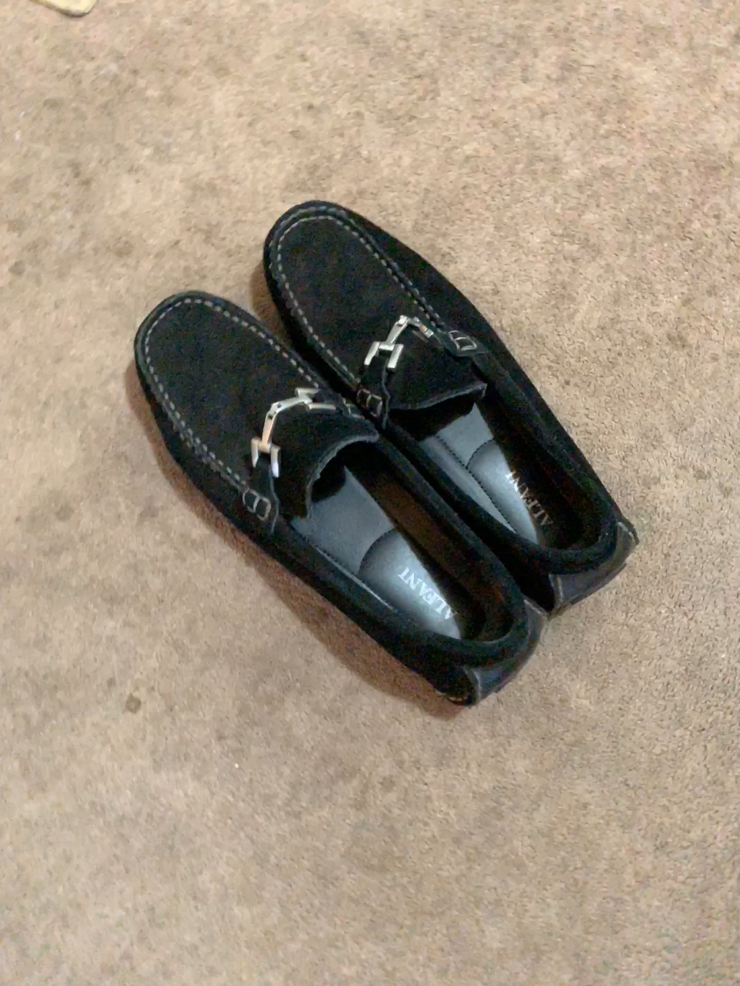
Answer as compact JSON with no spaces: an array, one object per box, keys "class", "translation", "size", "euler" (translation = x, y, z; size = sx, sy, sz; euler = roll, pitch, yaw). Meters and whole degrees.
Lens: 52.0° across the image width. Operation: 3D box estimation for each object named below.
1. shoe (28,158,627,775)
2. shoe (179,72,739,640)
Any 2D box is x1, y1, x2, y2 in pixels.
[{"class":"shoe","translation":[-0.027,-0.014,0.403],"size":[0.100,0.100,0.310],"euler":[-41,82,-12]},{"class":"shoe","translation":[0.040,-0.071,0.428],"size":[0.100,0.100,0.310],"euler":[-41,82,-12]}]
